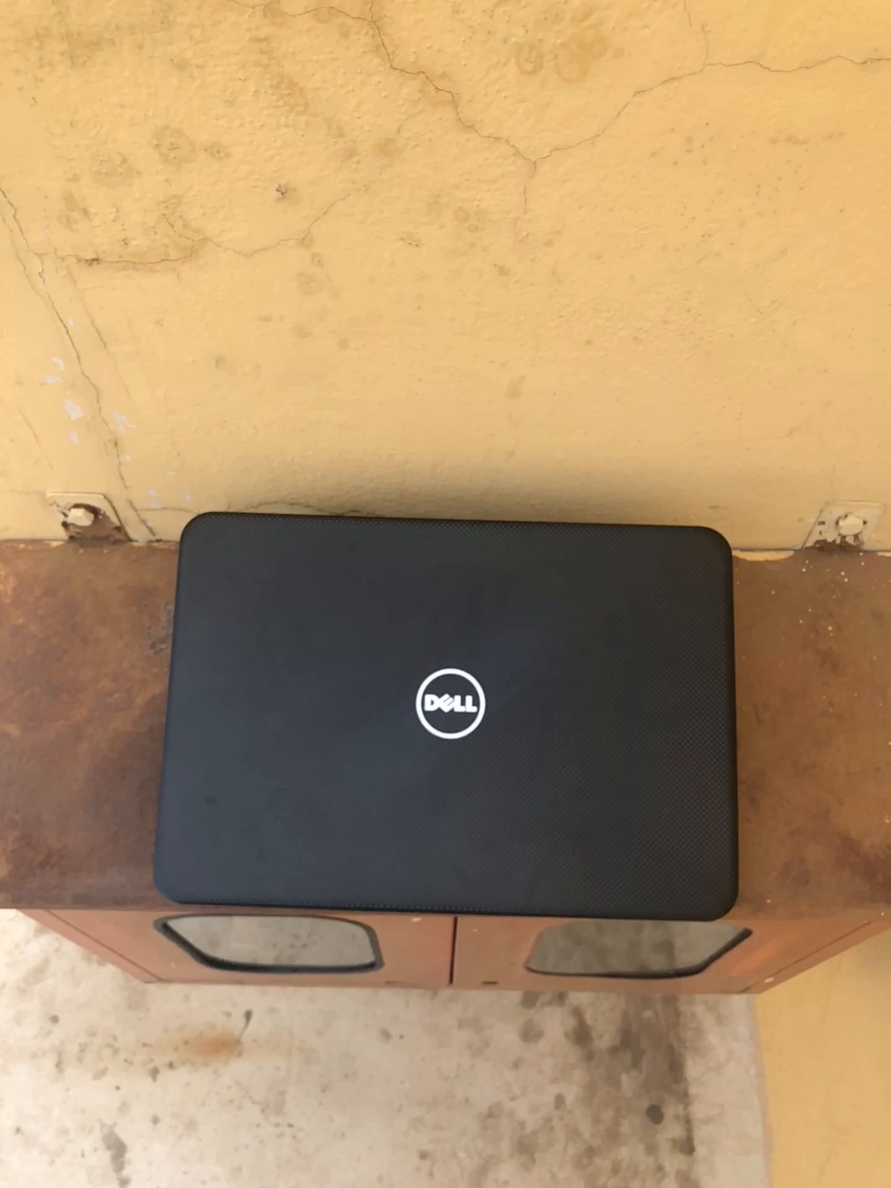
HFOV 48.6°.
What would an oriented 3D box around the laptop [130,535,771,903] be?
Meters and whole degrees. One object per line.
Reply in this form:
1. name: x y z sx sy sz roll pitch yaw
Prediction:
1. laptop: 0.007 0.080 0.614 0.352 0.099 0.183 2 70 1
